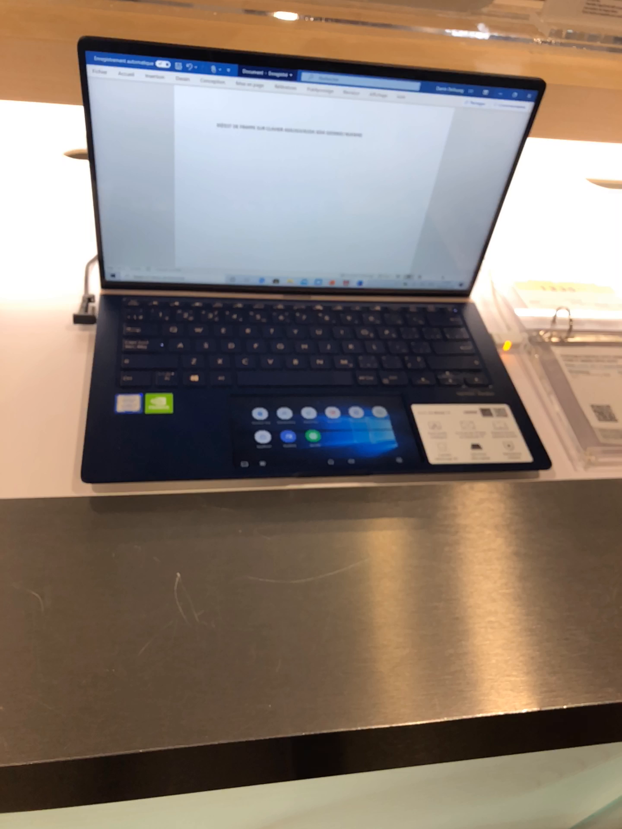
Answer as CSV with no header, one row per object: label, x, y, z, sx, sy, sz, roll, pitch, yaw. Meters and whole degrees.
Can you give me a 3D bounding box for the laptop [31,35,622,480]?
laptop,0.012,-0.099,0.456,0.317,0.193,0.200,-1,46,-11
